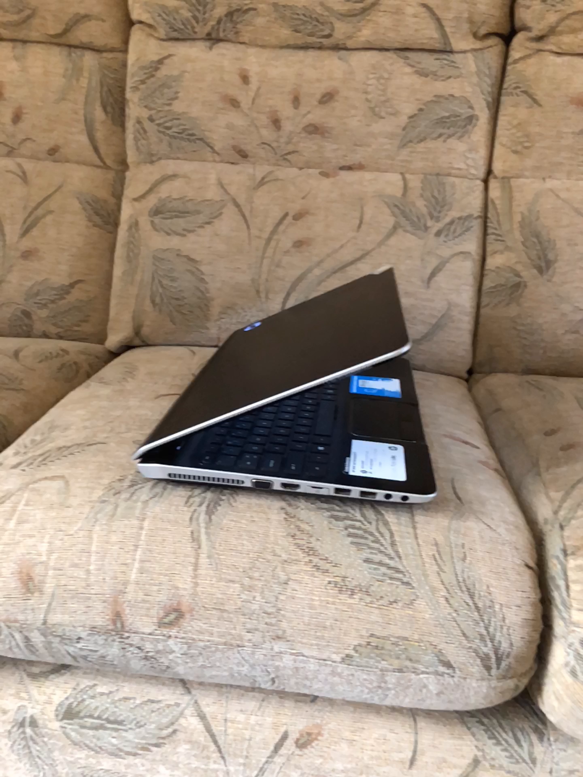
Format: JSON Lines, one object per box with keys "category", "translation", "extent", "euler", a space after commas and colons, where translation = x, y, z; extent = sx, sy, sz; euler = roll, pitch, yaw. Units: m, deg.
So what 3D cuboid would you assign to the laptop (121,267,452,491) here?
{"category": "laptop", "translation": [0.017, -0.040, 0.705], "extent": [0.253, 0.113, 0.398], "euler": [4, 20, 5]}
